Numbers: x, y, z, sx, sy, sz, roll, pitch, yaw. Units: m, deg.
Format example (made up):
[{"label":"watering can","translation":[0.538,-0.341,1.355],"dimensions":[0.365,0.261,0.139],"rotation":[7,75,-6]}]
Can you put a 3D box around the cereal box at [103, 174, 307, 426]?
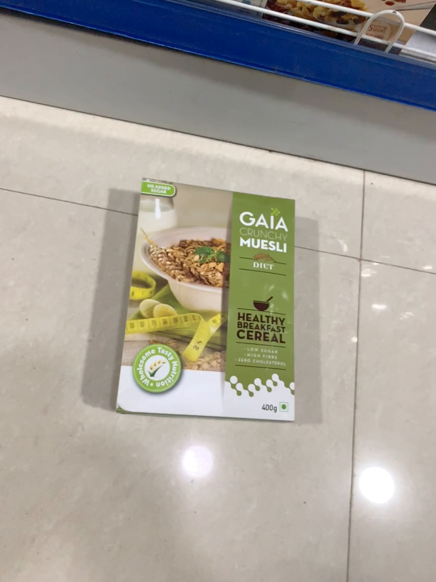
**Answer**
[{"label":"cereal box","translation":[-0.009,0.012,0.458],"dimensions":[0.180,0.070,0.230],"rotation":[5,75,-8]}]
